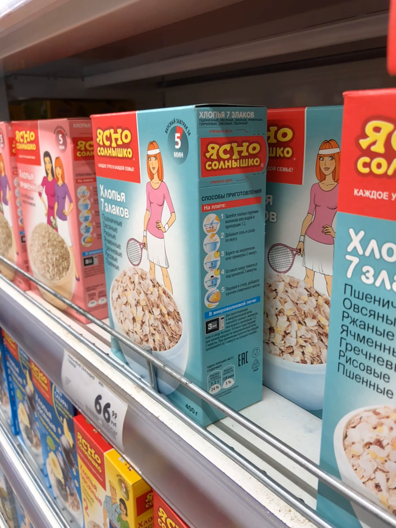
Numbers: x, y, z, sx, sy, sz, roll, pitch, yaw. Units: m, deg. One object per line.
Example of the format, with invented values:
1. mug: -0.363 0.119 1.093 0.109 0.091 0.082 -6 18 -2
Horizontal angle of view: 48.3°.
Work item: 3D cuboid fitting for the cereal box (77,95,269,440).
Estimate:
1. cereal box: -0.022 -0.008 0.301 0.050 0.189 0.140 -13 20 -35
